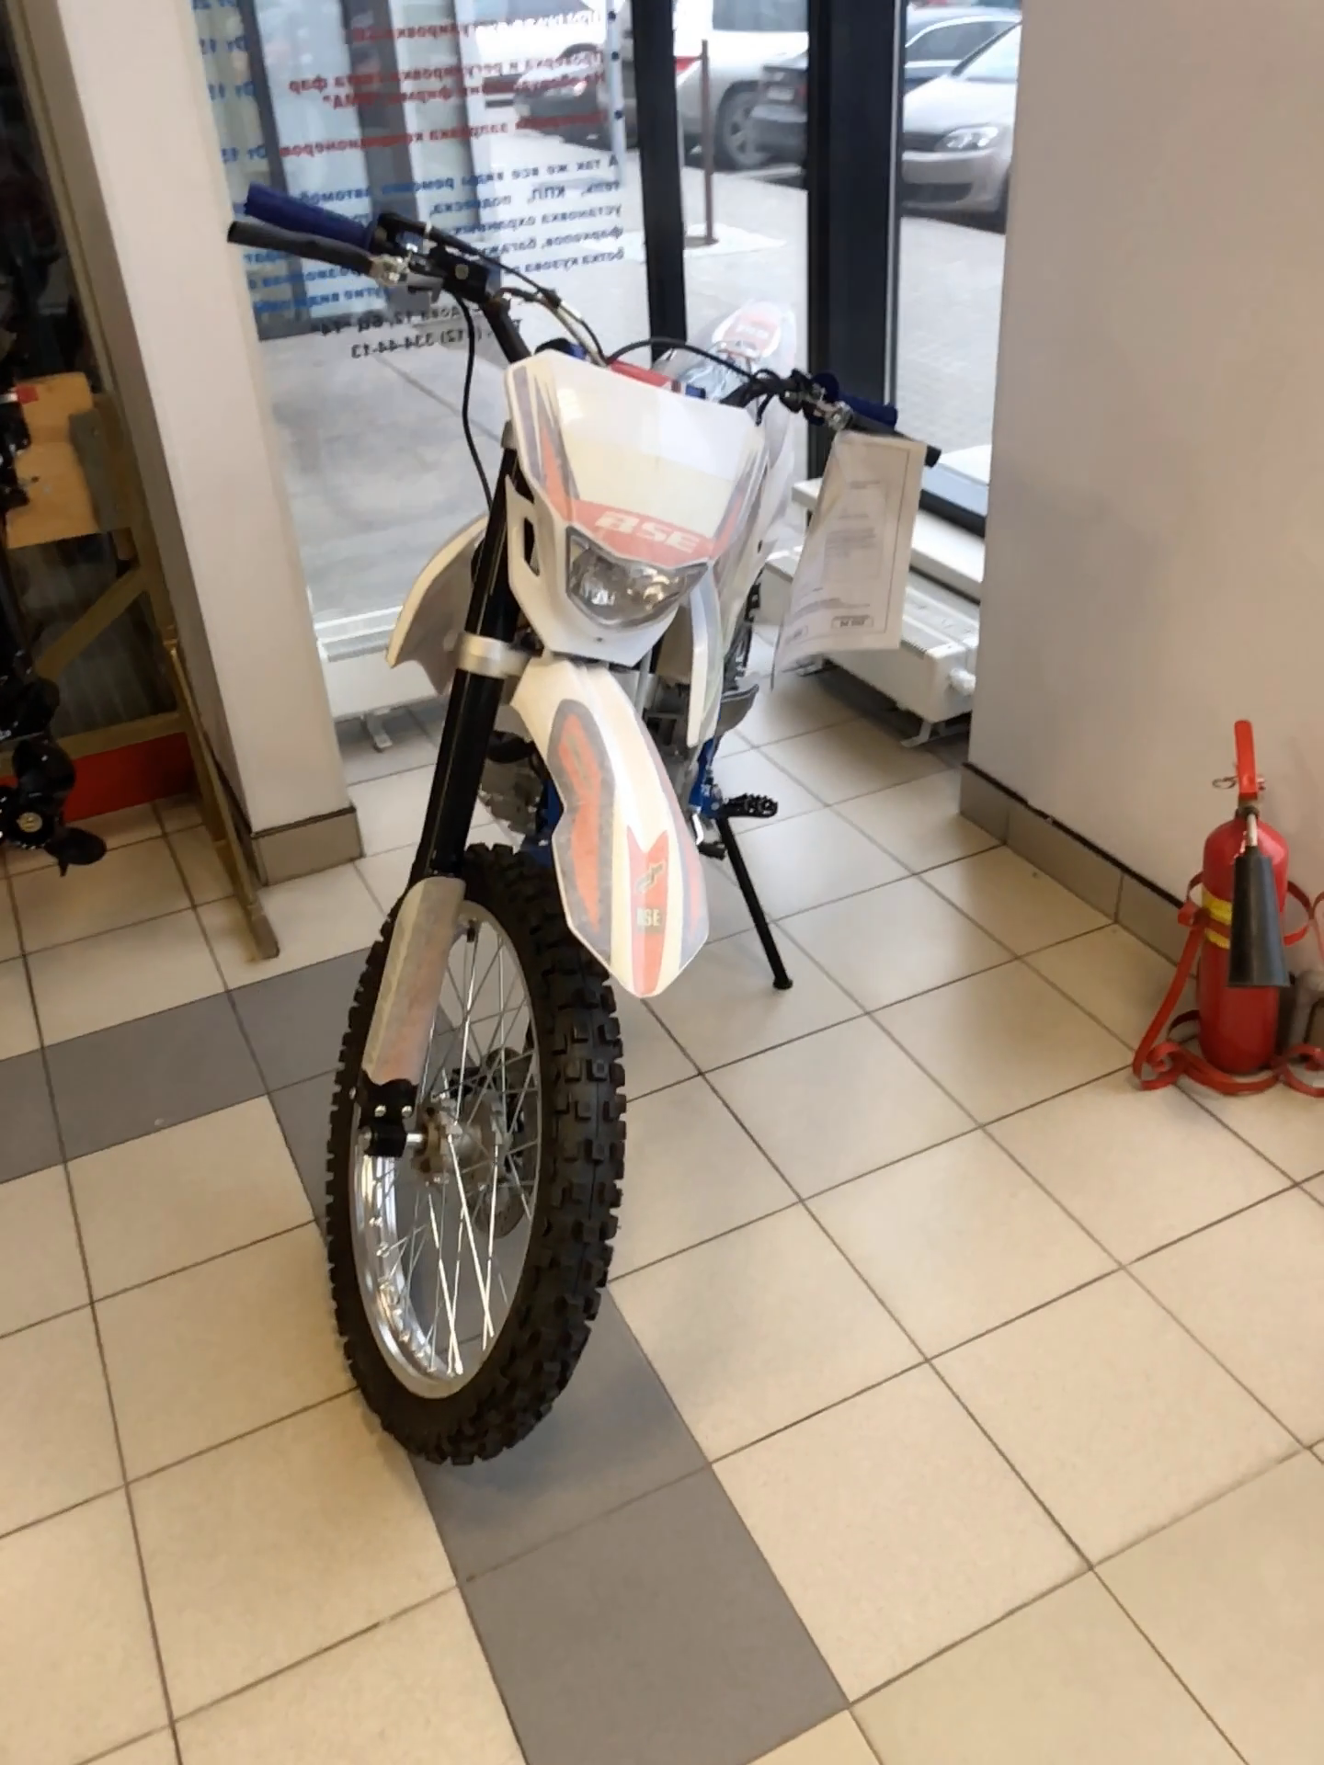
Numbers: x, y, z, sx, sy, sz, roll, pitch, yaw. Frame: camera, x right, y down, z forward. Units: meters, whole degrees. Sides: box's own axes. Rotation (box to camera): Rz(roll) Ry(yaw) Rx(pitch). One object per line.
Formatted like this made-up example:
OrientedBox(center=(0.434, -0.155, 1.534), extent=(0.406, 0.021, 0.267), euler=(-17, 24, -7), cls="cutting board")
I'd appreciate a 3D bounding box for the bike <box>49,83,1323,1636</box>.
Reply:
OrientedBox(center=(0.116, -0.294, 2.012), extent=(0.842, 1.219, 1.855), euler=(1, 34, 8), cls="bike")
